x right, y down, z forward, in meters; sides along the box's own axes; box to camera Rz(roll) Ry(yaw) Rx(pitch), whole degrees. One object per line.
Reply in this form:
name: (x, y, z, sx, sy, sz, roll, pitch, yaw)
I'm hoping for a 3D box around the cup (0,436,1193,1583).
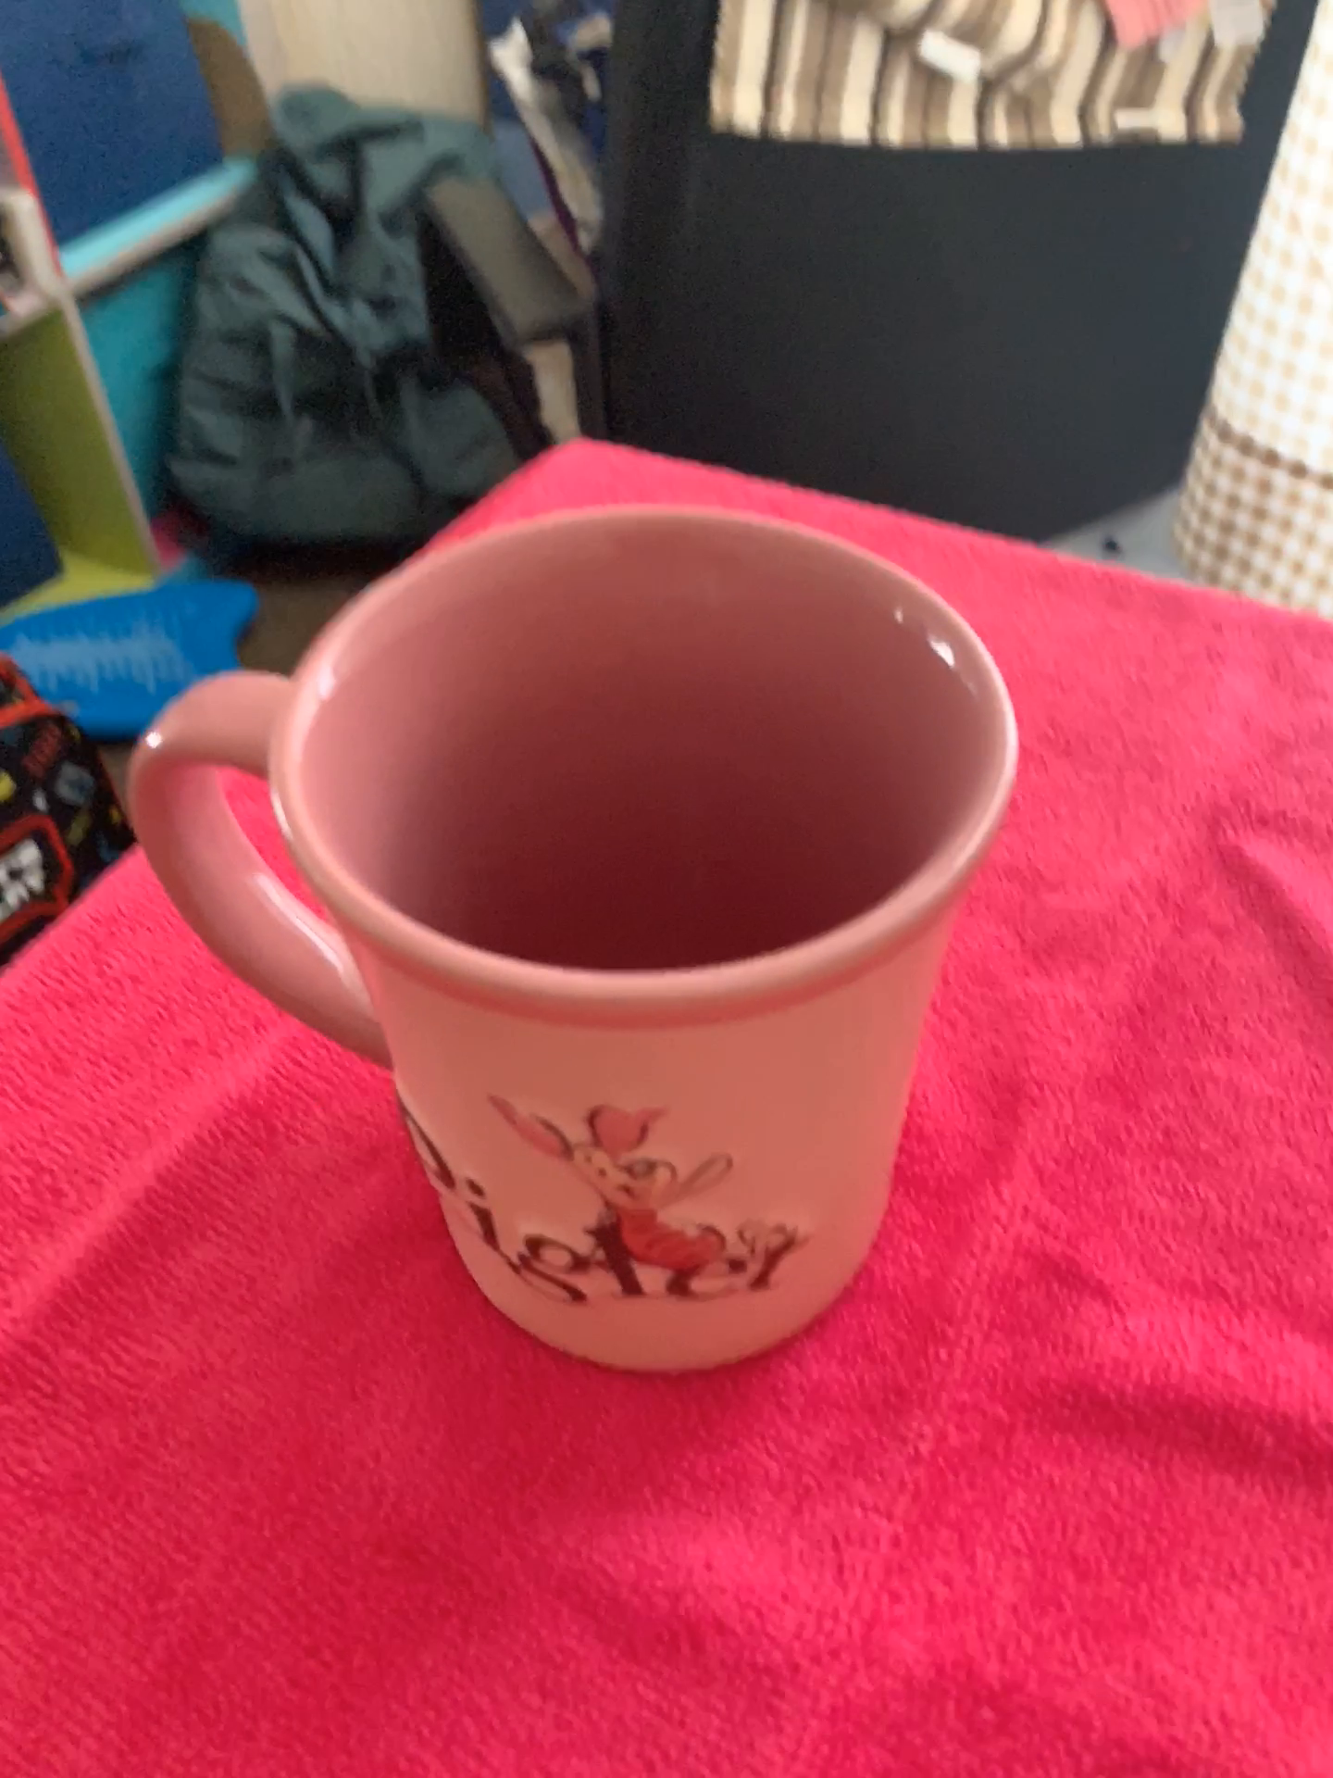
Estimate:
cup: (-0.008, 0.015, 0.207, 0.130, 0.109, 0.091, 16, 49, 17)
